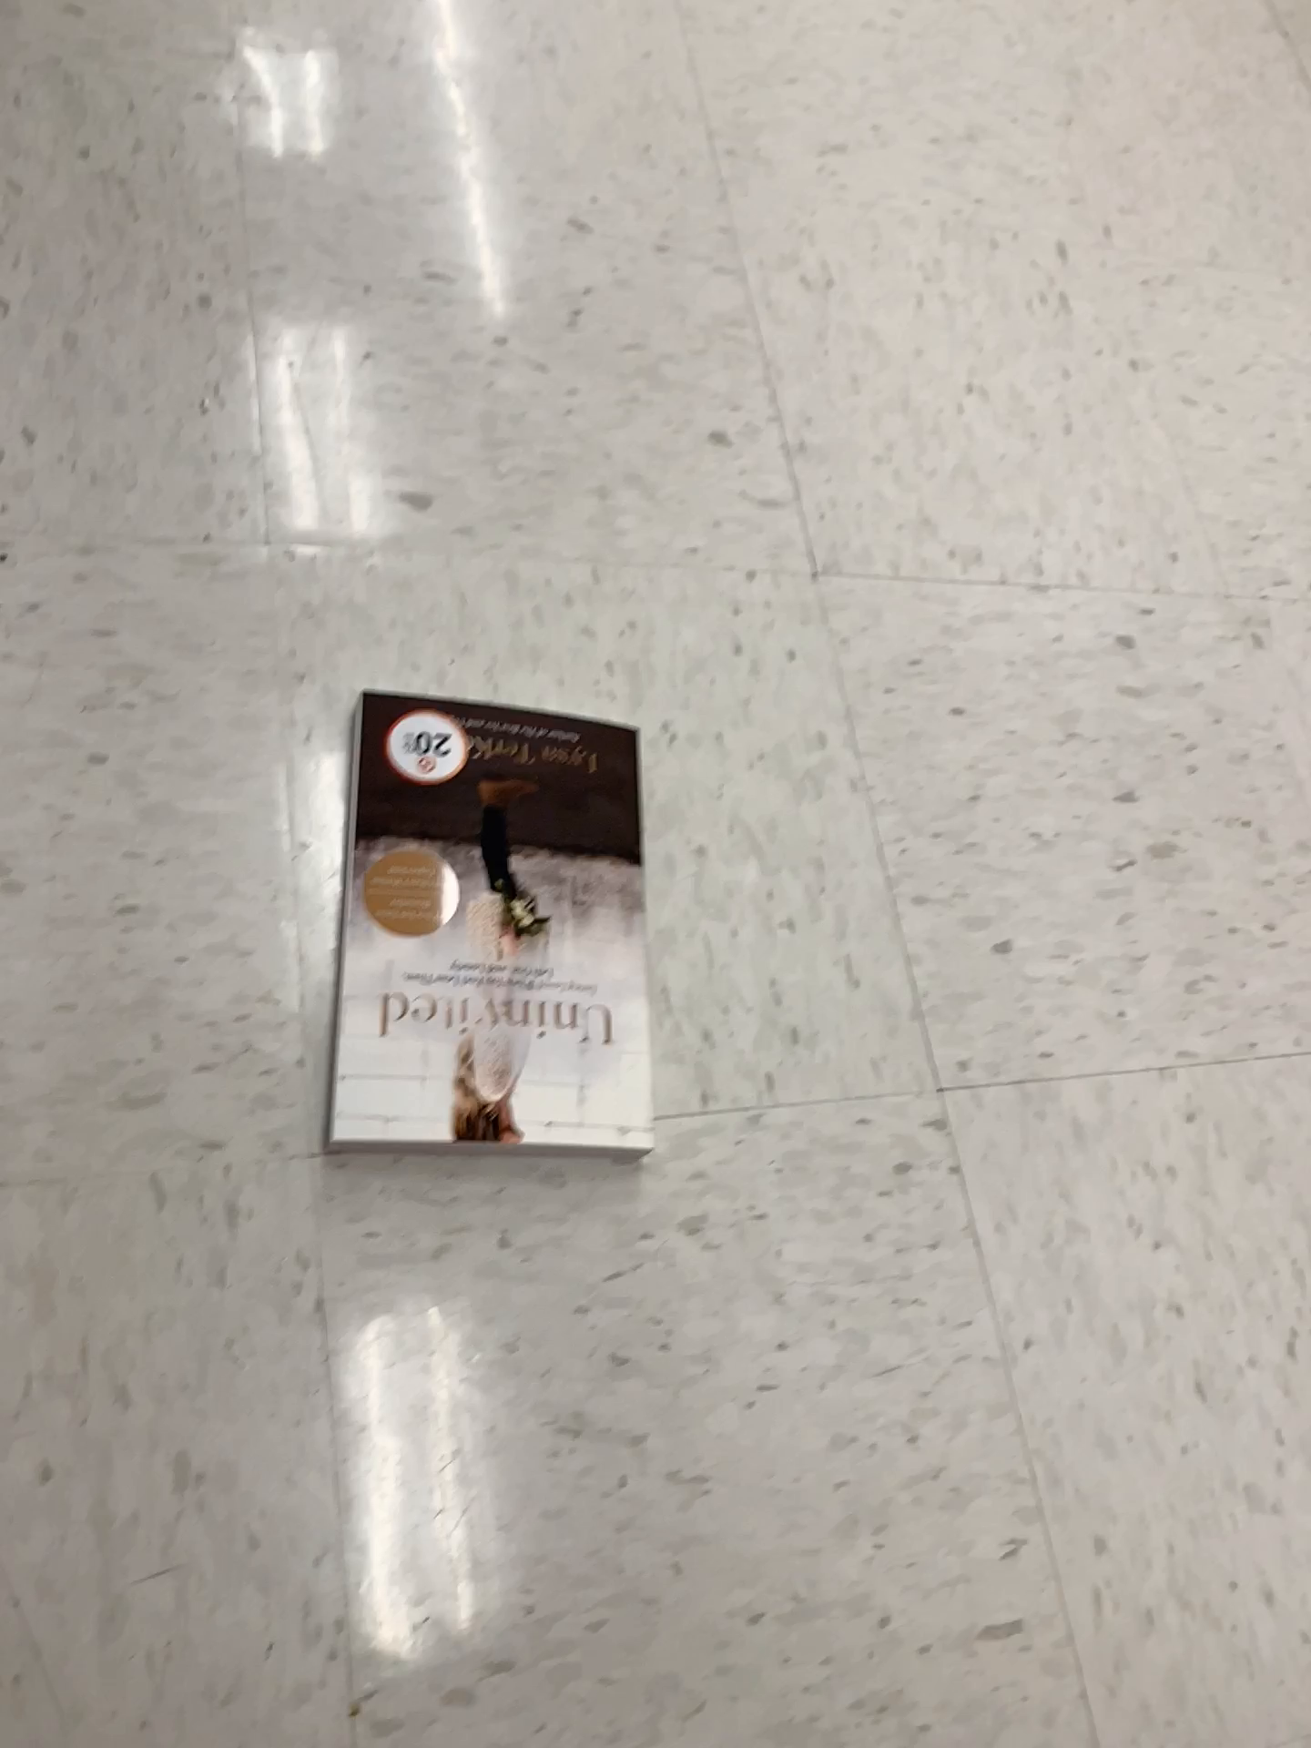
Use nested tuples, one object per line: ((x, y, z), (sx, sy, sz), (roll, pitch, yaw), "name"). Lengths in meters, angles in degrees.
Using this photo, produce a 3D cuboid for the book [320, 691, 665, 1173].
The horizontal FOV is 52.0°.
((-0.072, 0.025, 0.603), (0.140, 0.030, 0.210), (5, 66, -18), "book")
